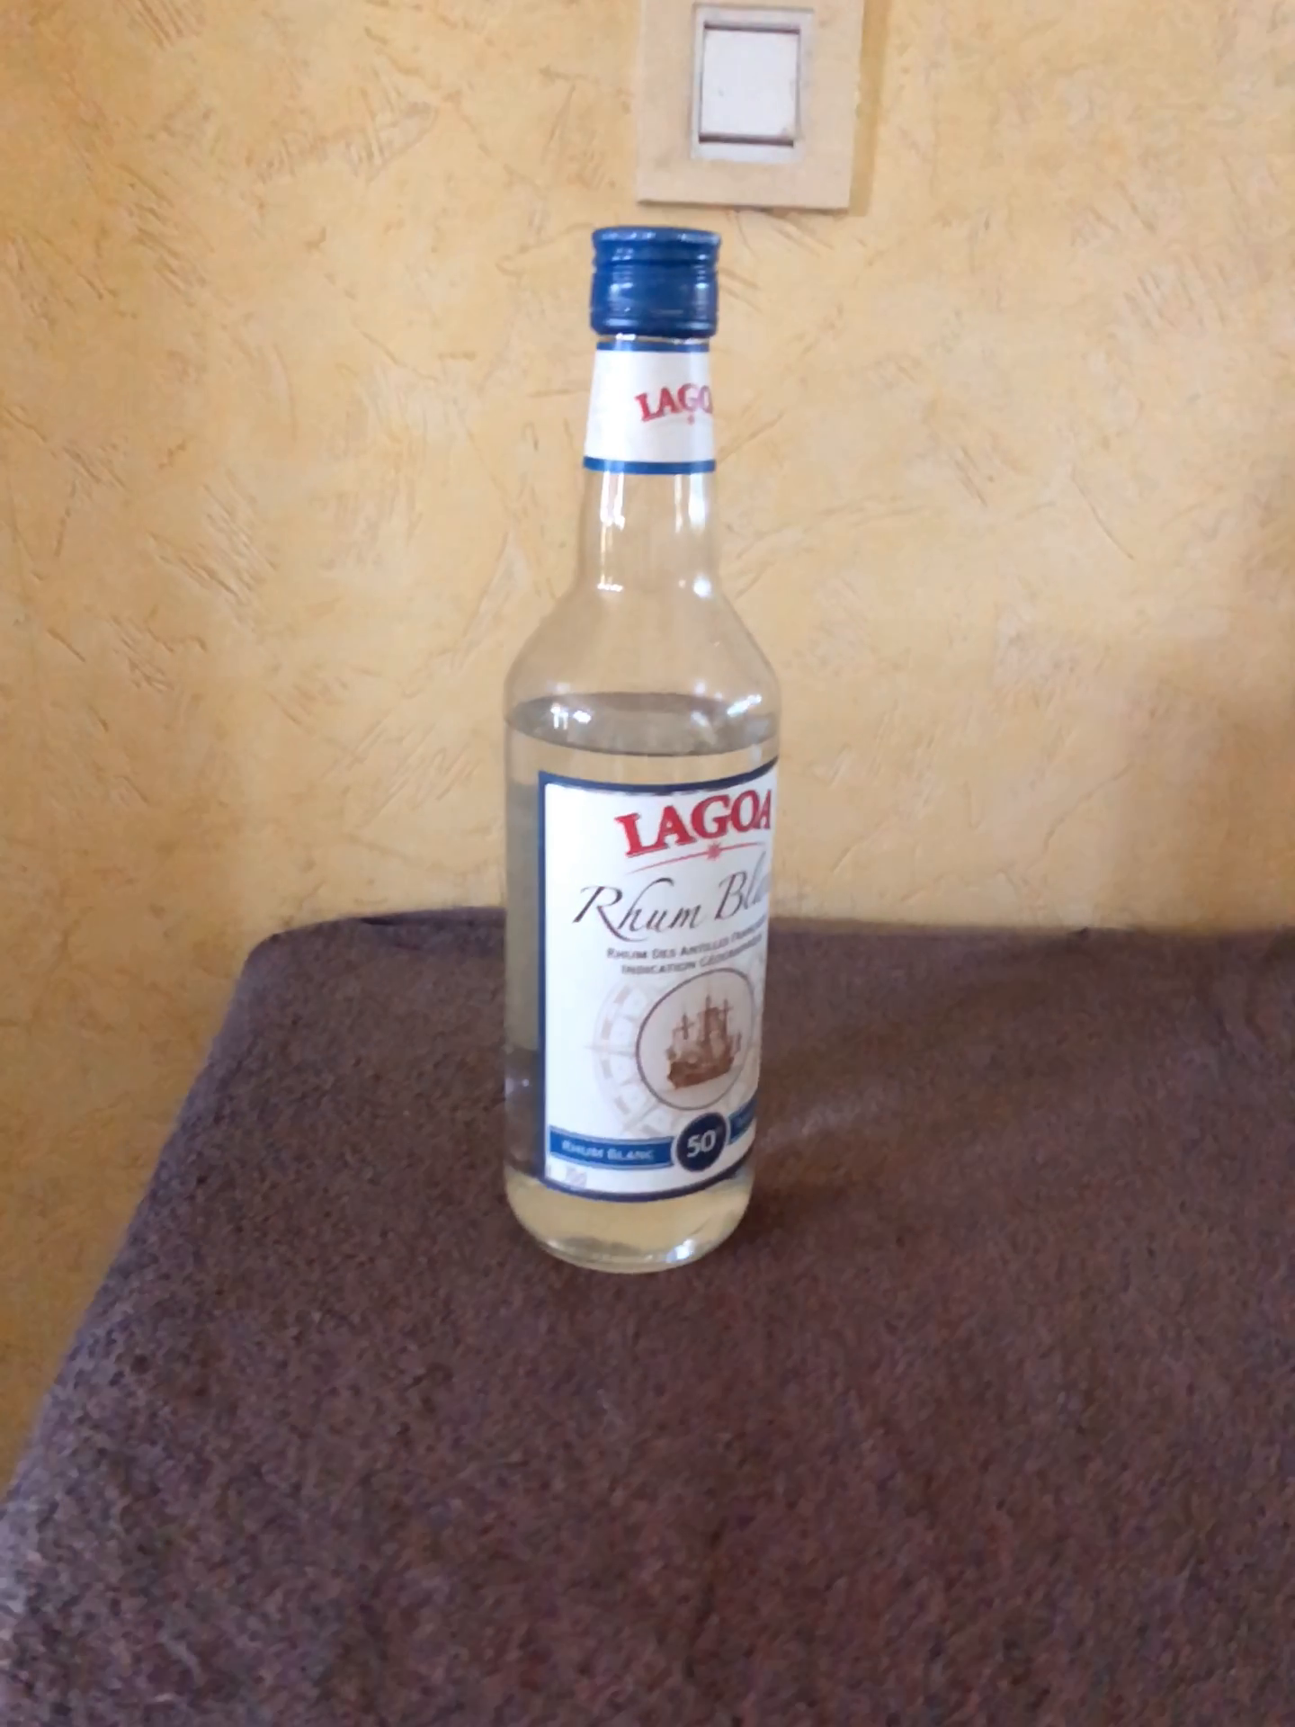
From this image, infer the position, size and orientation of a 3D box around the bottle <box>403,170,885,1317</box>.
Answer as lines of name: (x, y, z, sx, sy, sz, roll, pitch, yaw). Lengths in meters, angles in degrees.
bottle: (-0.006, -0.028, 0.375, 0.080, 0.269, 0.080, 1, 21, 0)
